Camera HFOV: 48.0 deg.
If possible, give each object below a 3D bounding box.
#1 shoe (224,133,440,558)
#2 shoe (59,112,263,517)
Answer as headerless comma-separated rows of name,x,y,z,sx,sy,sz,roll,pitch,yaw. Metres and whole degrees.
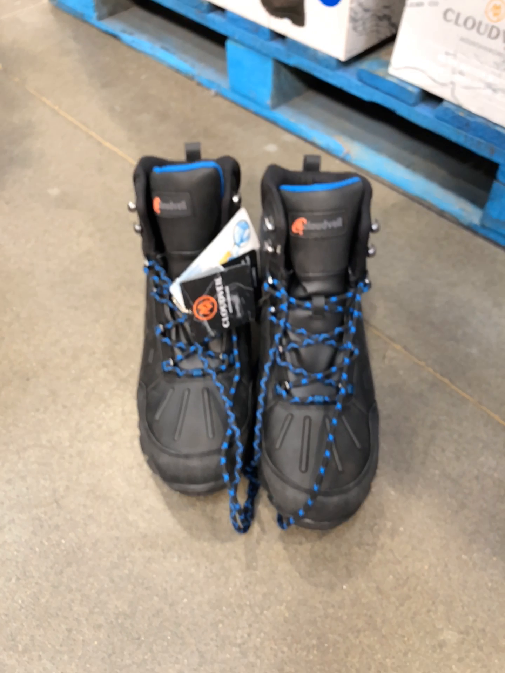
shoe,0.056,0.003,0.493,0.120,0.210,0.300,2,52,3
shoe,-0.060,-0.024,0.519,0.120,0.210,0.300,-3,52,0
